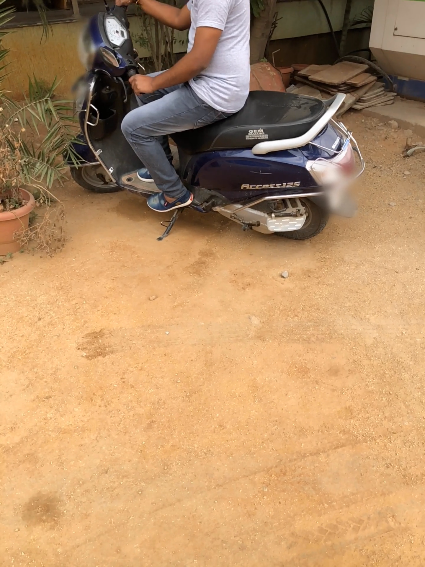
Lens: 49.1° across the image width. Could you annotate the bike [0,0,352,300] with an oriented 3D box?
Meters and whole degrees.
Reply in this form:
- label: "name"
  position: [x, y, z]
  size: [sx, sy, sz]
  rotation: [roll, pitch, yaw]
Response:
- label: "bike"
  position: [-0.199, -0.781, 2.404]
  size: [1.620, 1.222, 0.591]
  rotation: [14, 38, 20]
